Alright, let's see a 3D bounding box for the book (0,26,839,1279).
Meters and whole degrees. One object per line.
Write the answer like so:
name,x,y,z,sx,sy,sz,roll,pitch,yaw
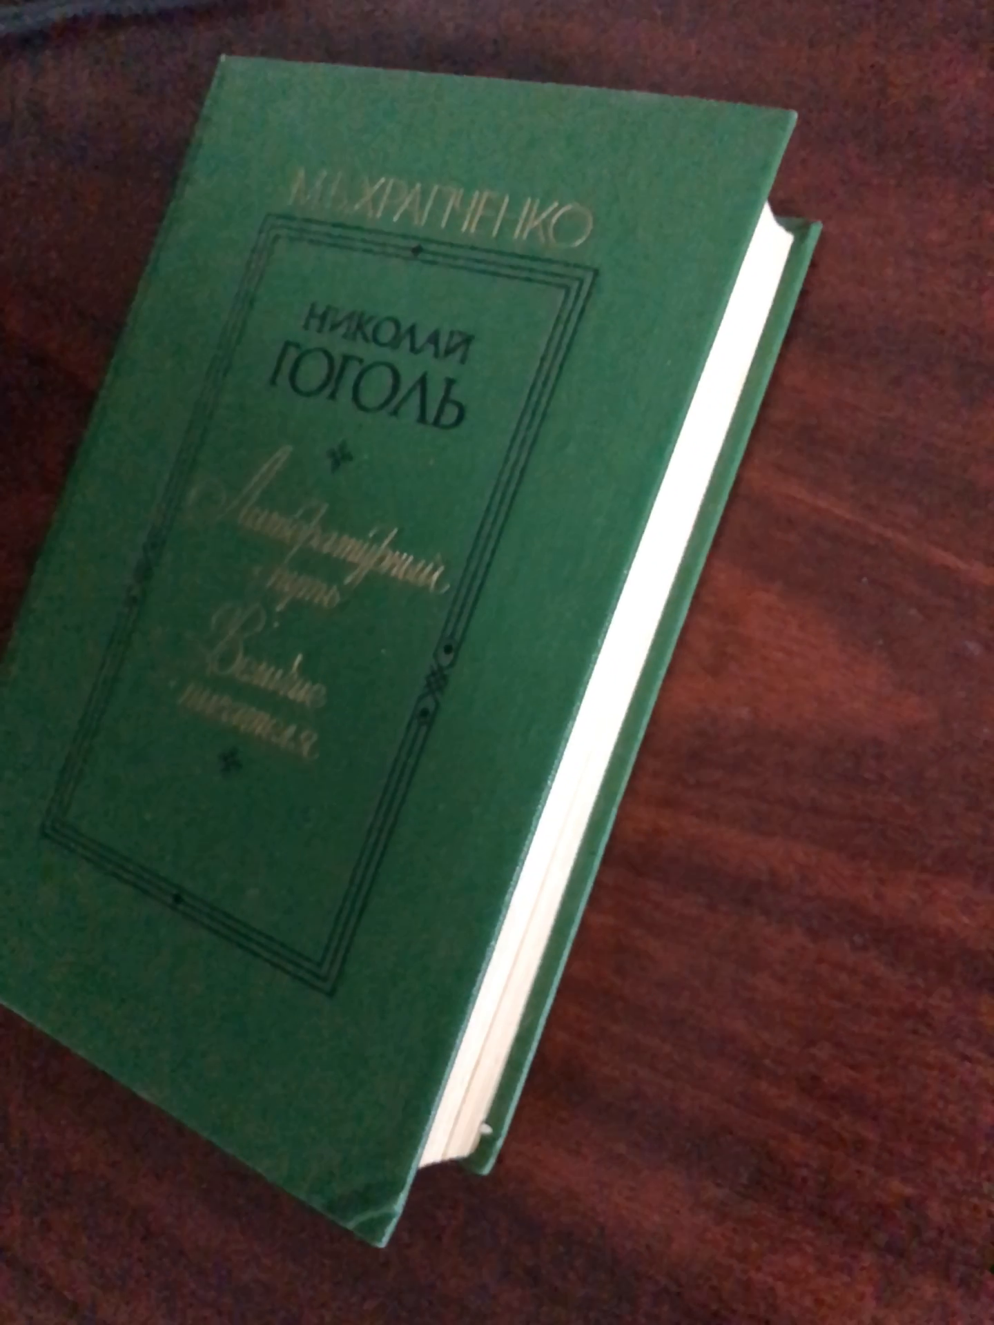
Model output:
book,-0.031,-0.015,0.229,0.129,0.050,0.206,19,88,26
